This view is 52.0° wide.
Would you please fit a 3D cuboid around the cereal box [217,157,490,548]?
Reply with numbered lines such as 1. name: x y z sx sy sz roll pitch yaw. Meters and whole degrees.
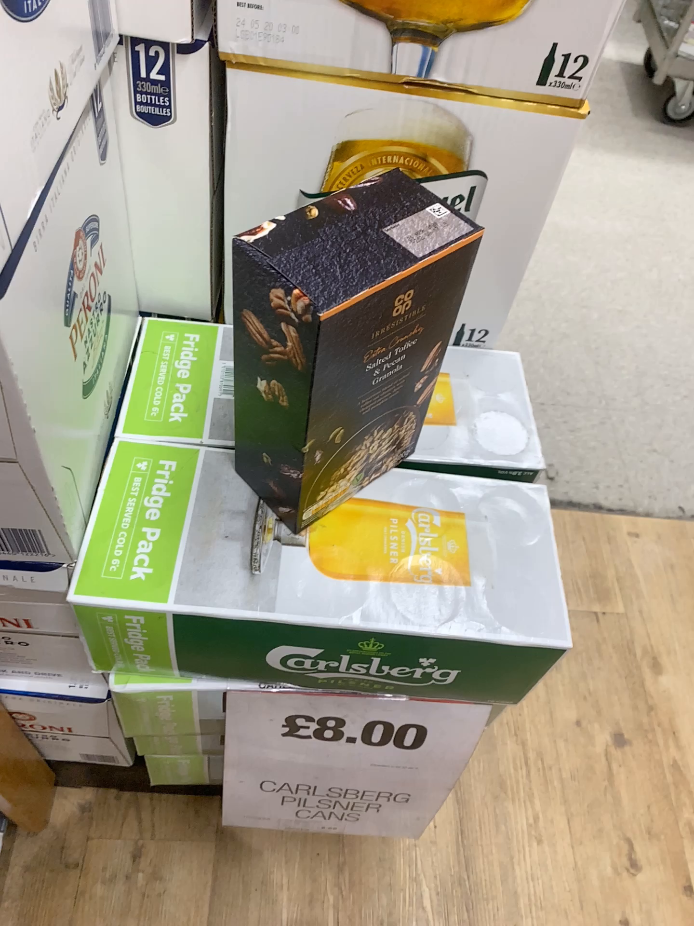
1. cereal box: -0.006 -0.059 0.449 0.121 0.208 0.080 -34 64 -29
